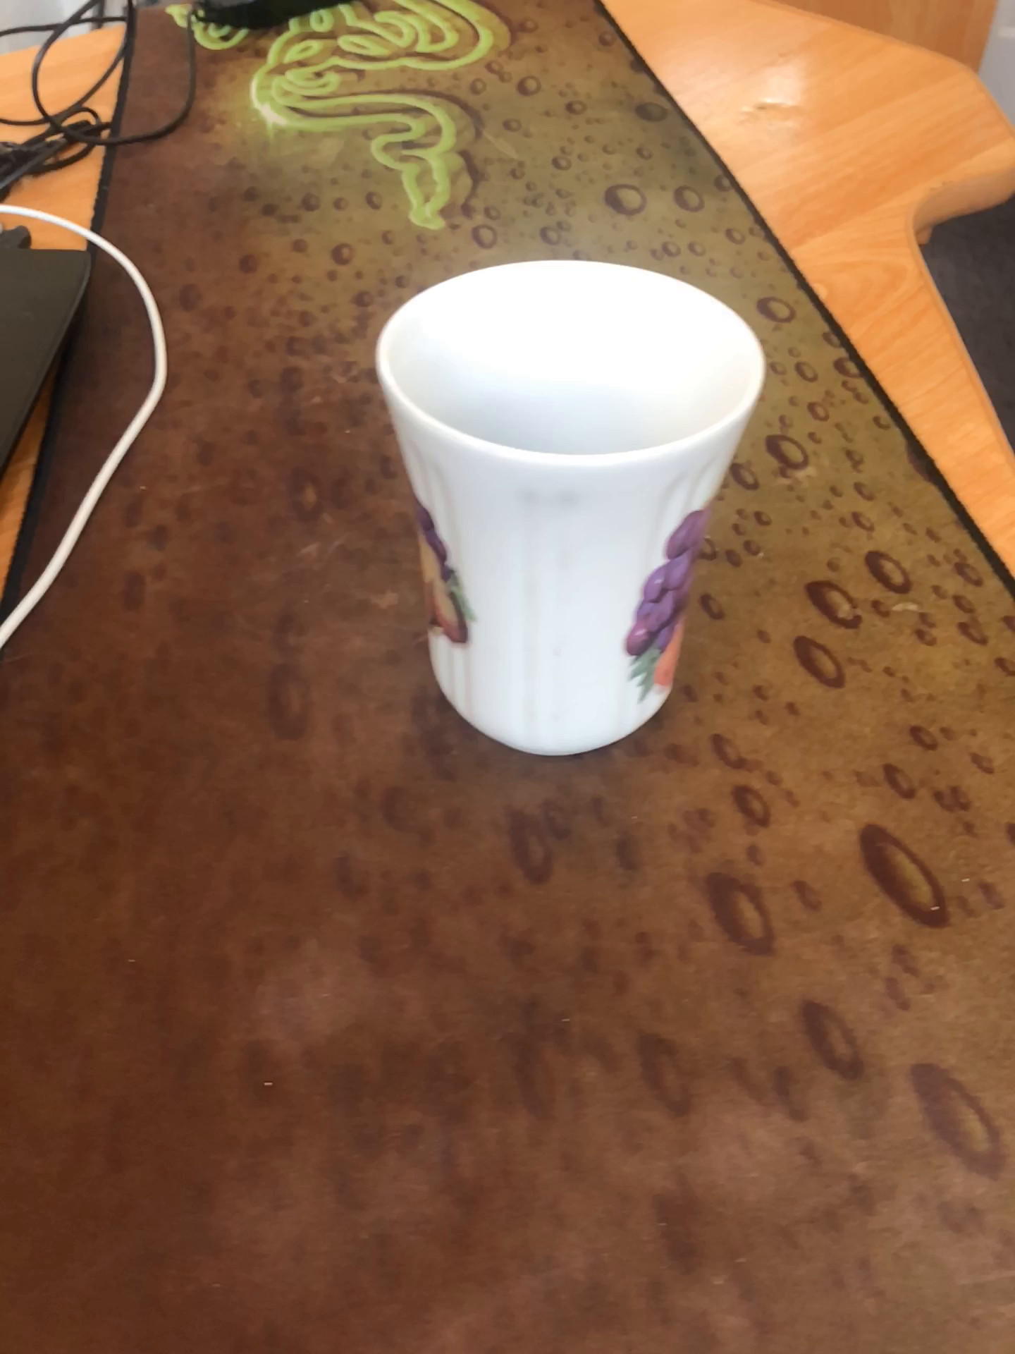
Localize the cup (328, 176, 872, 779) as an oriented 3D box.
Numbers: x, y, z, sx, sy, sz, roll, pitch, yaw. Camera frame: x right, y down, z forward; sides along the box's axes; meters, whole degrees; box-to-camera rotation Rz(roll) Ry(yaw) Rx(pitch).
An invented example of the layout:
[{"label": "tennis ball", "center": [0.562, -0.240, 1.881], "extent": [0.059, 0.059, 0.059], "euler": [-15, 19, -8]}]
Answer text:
[{"label": "cup", "center": [0.012, -0.049, 0.255], "extent": [0.080, 0.080, 0.100], "euler": [-12, 46, -11]}]
